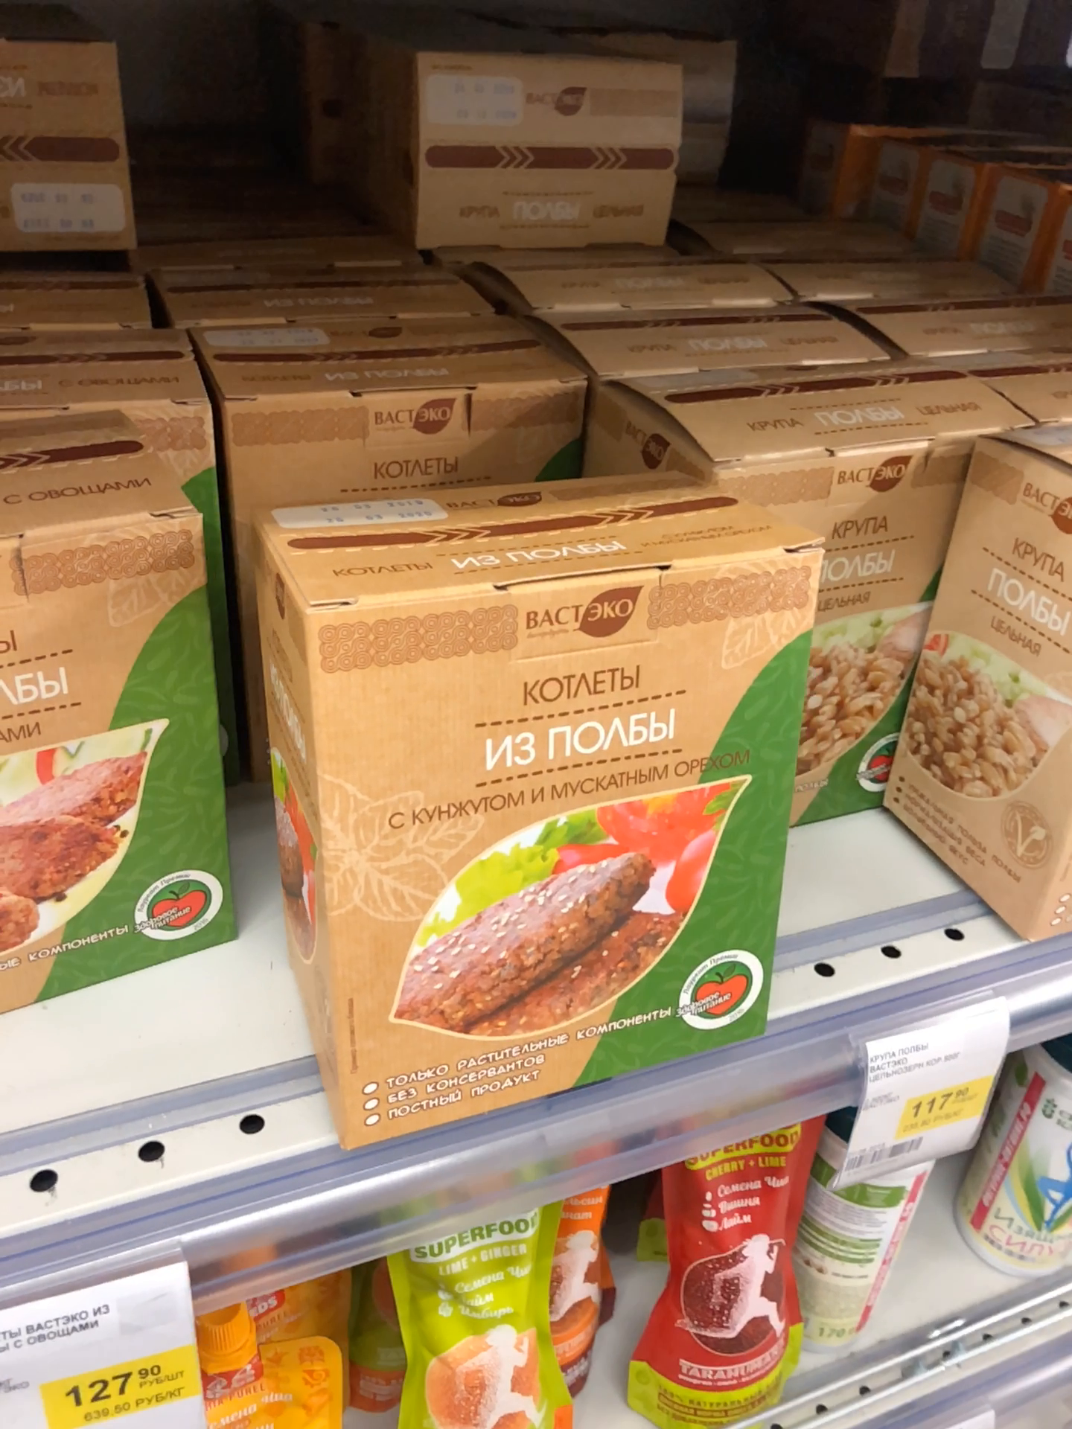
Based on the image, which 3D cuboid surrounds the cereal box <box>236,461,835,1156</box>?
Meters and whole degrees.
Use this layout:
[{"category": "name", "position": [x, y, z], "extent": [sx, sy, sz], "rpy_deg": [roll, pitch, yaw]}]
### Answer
[{"category": "cereal box", "position": [-0.005, 0.016, 0.316], "extent": [0.120, 0.139, 0.090], "rpy_deg": [-9, 26, -21]}]
